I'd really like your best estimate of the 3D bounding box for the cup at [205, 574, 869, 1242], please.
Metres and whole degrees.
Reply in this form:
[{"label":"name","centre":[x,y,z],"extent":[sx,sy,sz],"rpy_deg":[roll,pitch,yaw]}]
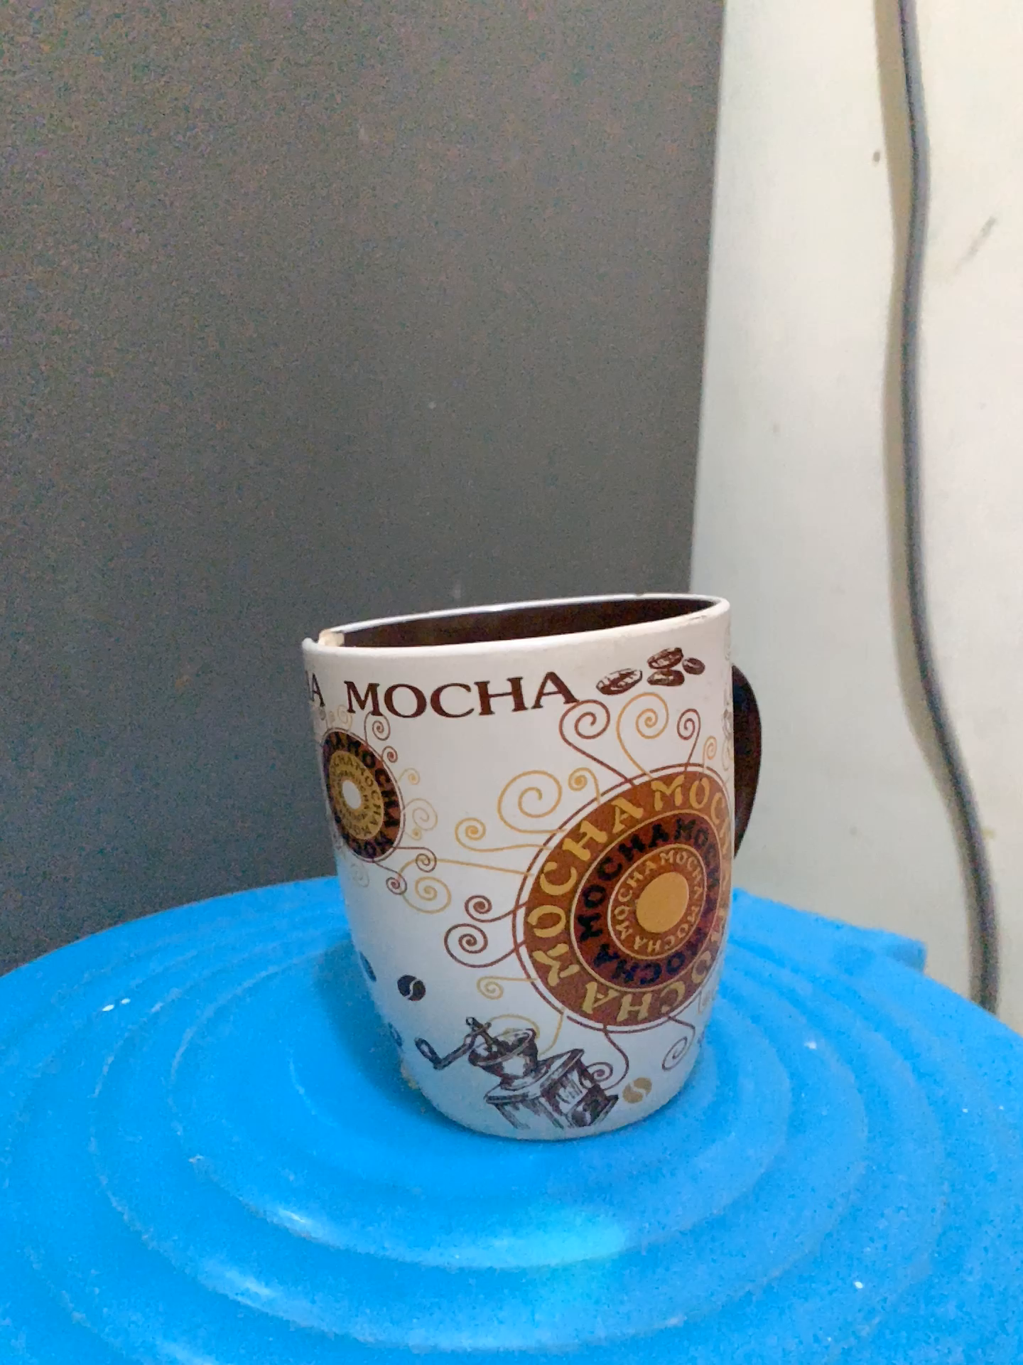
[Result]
[{"label":"cup","centre":[0.013,0.026,0.207],"extent":[0.070,0.083,0.110],"rpy_deg":[3,11,39]}]
